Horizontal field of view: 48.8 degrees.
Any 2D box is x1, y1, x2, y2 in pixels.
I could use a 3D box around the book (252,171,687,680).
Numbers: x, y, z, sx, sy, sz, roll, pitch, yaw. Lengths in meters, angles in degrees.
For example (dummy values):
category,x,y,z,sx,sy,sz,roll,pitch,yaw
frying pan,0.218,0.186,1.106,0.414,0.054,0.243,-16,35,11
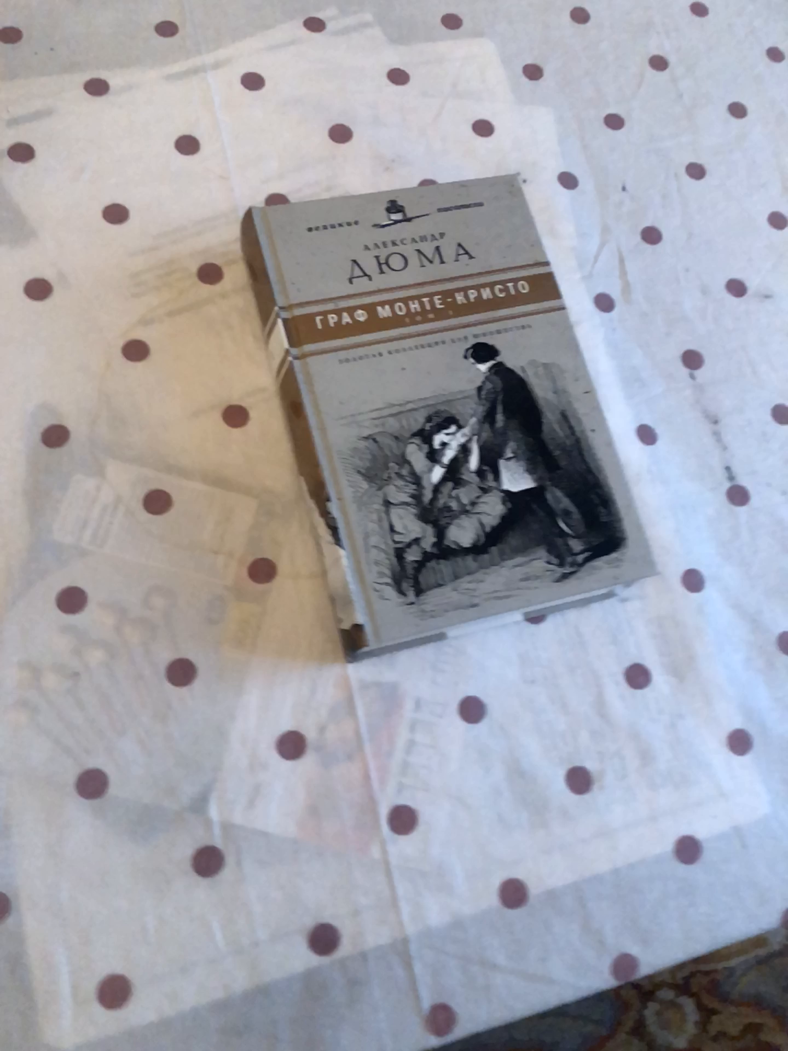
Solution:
category,x,y,z,sx,sy,sz,roll,pitch,yaw
book,0.026,-0.052,0.390,0.135,0.040,0.208,-13,75,-13
